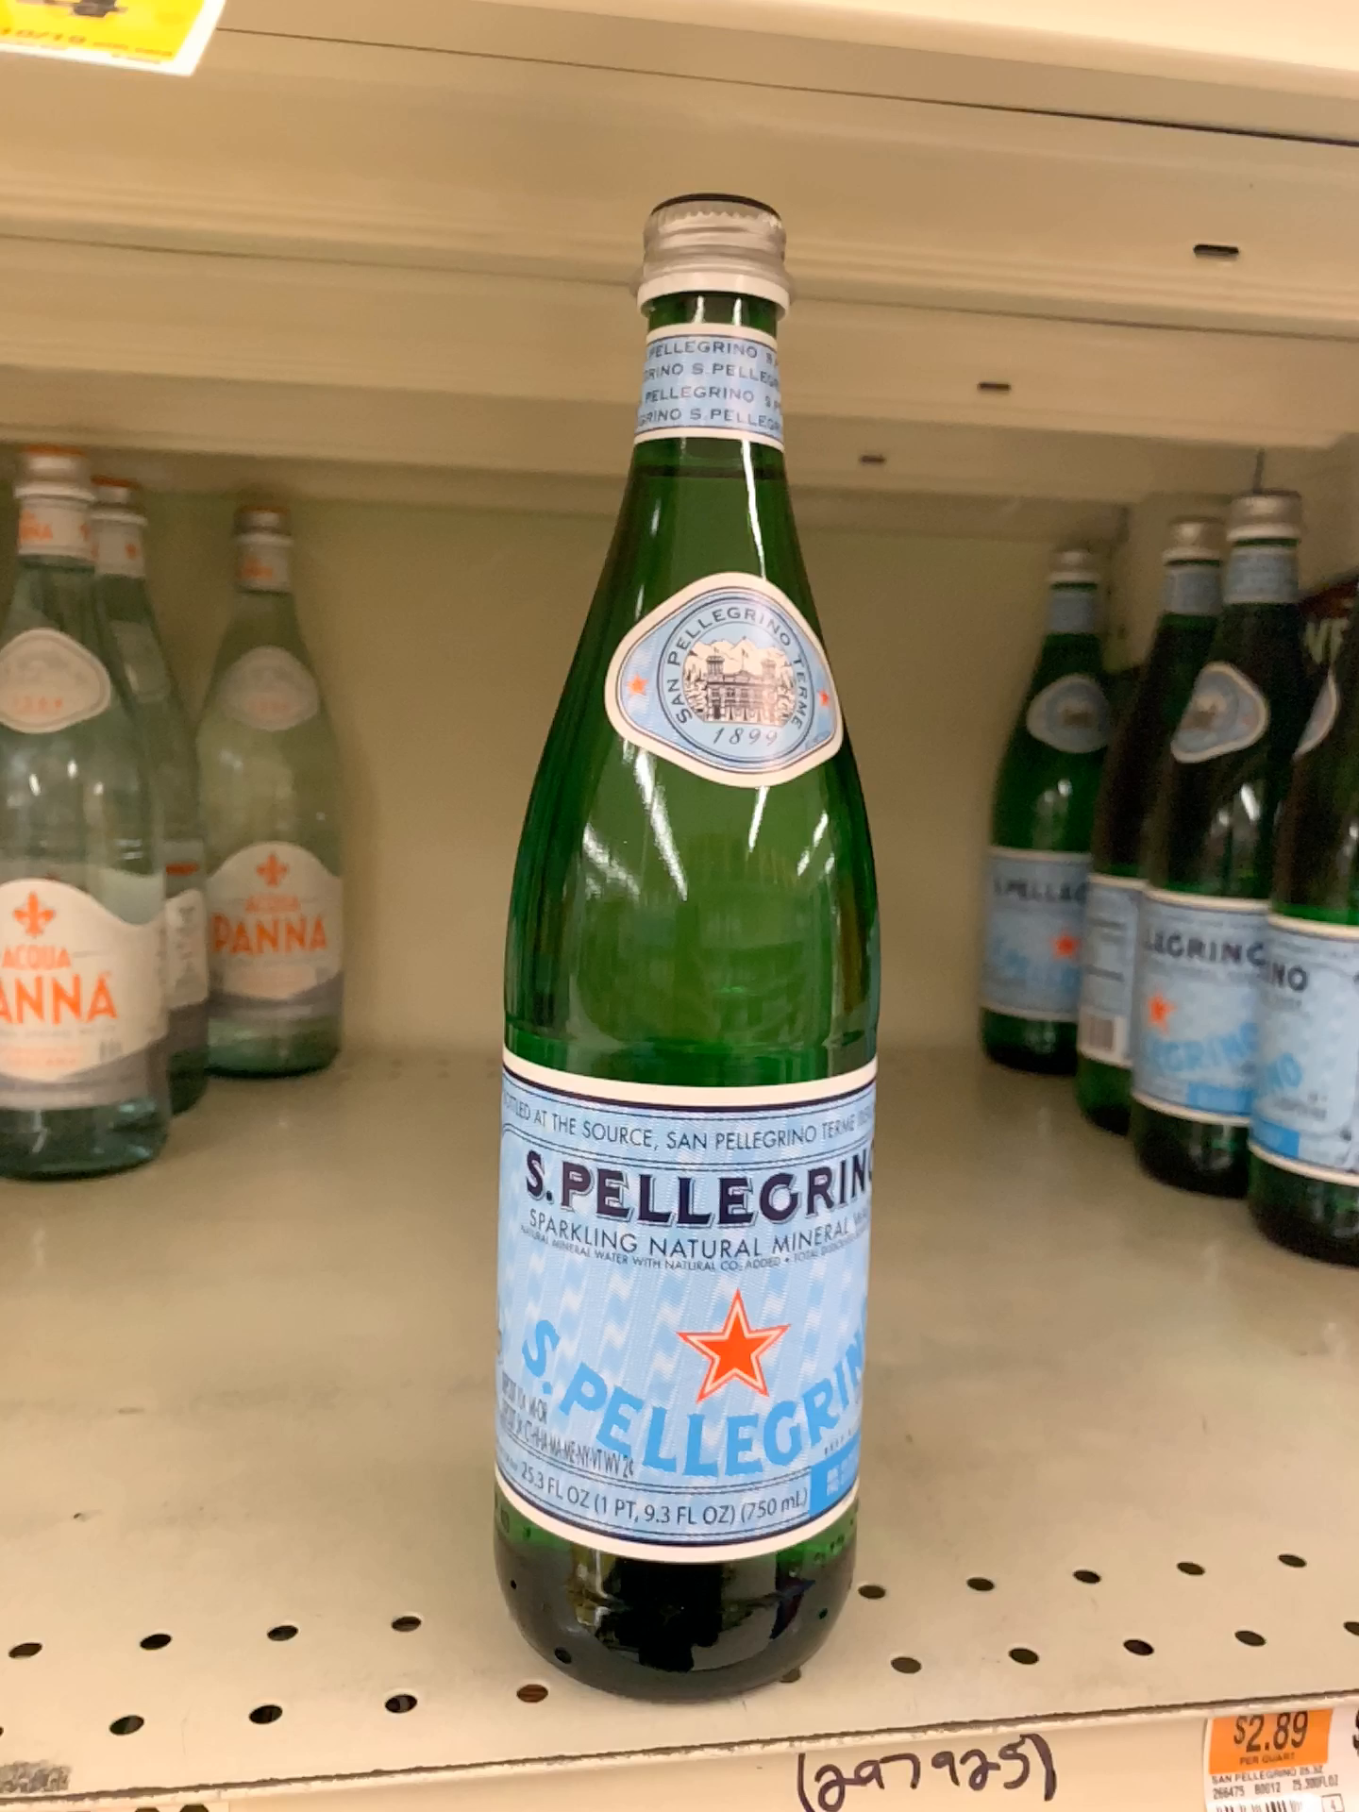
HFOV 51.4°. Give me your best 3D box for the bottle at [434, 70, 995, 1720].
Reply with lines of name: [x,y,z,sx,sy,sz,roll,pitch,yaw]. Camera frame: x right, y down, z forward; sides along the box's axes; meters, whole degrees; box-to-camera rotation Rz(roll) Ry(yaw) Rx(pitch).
bottle: [-0.002,0.004,0.295,0.090,0.289,0.090,2,8,0]
